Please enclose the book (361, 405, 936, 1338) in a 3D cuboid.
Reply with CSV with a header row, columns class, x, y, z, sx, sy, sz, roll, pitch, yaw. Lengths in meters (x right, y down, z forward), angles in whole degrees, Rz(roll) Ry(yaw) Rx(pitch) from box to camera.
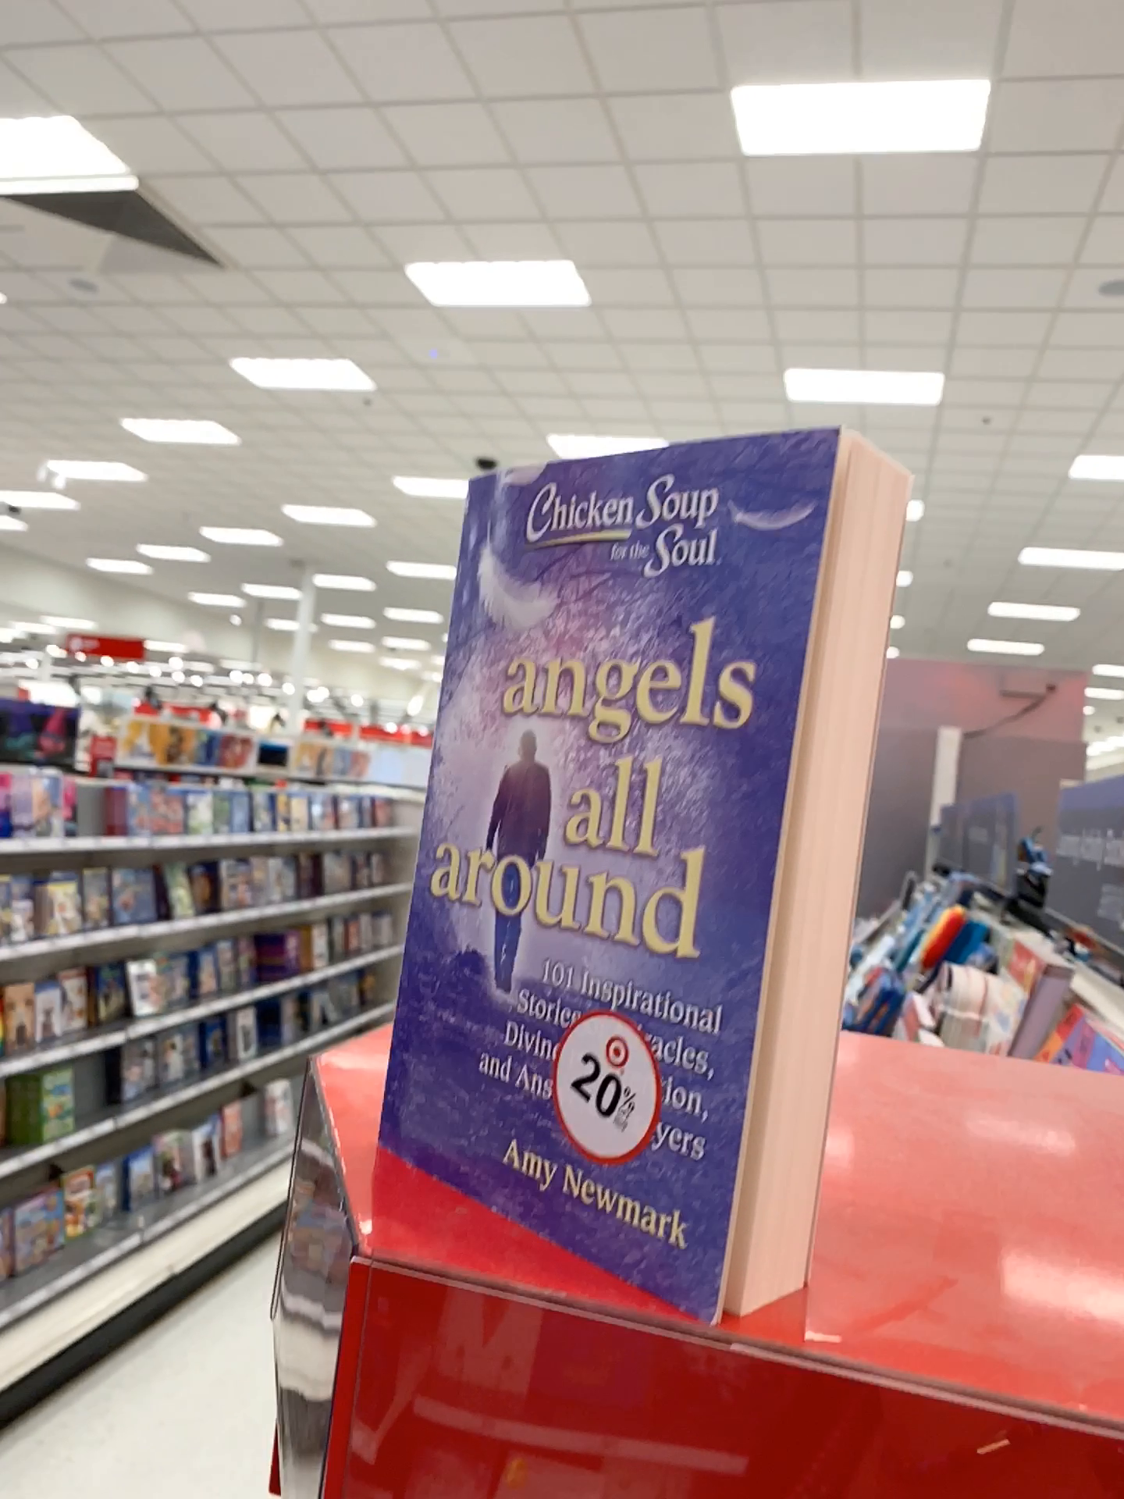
class,x,y,z,sx,sy,sz,roll,pitch,yaw
book,0.017,0.023,0.328,0.041,0.211,0.142,13,-6,-43
